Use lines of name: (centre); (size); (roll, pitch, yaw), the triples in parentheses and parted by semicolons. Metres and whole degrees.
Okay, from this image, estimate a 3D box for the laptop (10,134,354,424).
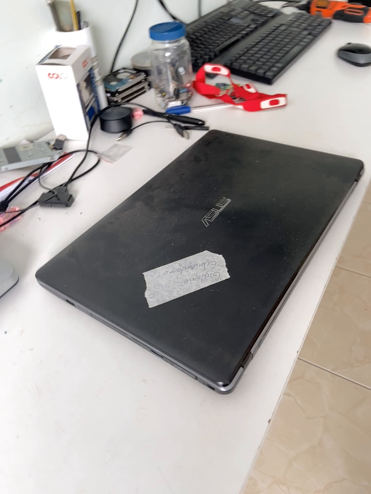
laptop: (0.017, -0.024, 0.468); (0.251, 0.007, 0.386); (23, 51, 28)
